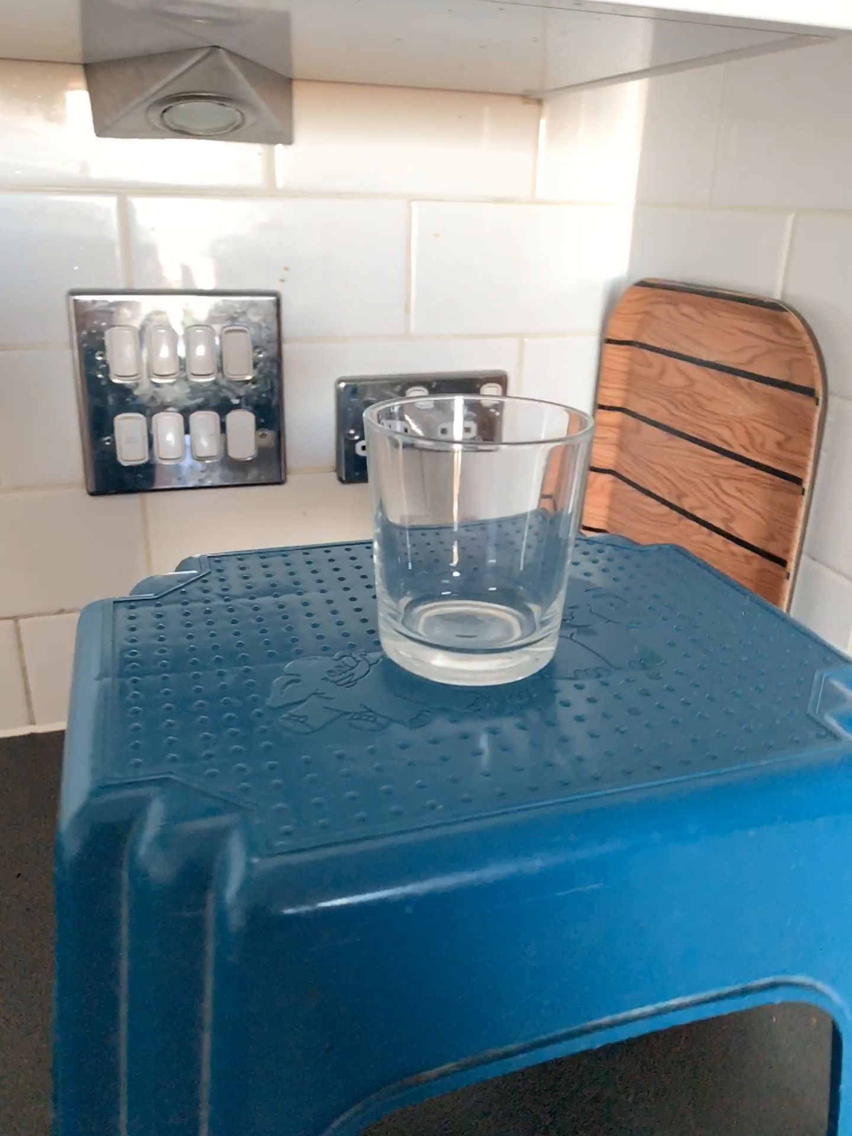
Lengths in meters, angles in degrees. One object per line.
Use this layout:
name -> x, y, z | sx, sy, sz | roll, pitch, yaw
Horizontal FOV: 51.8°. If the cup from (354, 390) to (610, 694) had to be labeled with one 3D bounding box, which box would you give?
cup -> 0.016, -0.012, 0.308 | 0.076, 0.085, 0.067 | 2, 22, 1
